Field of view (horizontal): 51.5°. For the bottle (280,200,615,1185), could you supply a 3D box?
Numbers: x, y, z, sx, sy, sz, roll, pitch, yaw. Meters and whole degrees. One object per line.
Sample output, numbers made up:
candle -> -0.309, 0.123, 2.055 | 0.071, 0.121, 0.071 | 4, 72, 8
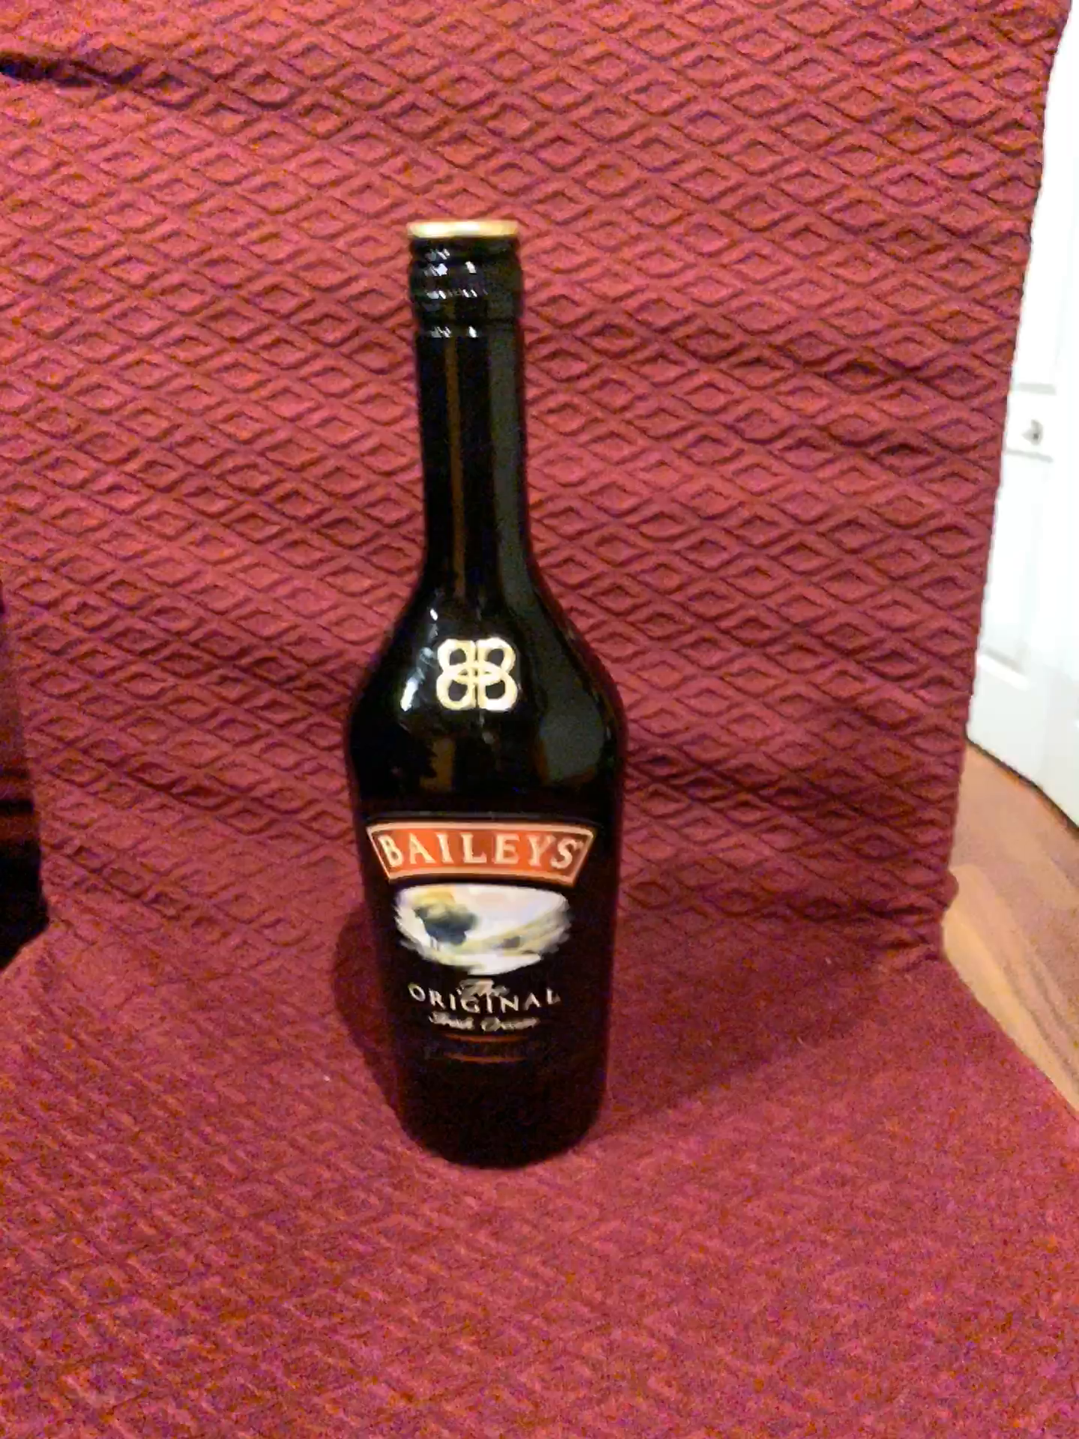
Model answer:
bottle -> -0.017, 0.002, 0.347 | 0.080, 0.289, 0.070 | 0, 19, 4
